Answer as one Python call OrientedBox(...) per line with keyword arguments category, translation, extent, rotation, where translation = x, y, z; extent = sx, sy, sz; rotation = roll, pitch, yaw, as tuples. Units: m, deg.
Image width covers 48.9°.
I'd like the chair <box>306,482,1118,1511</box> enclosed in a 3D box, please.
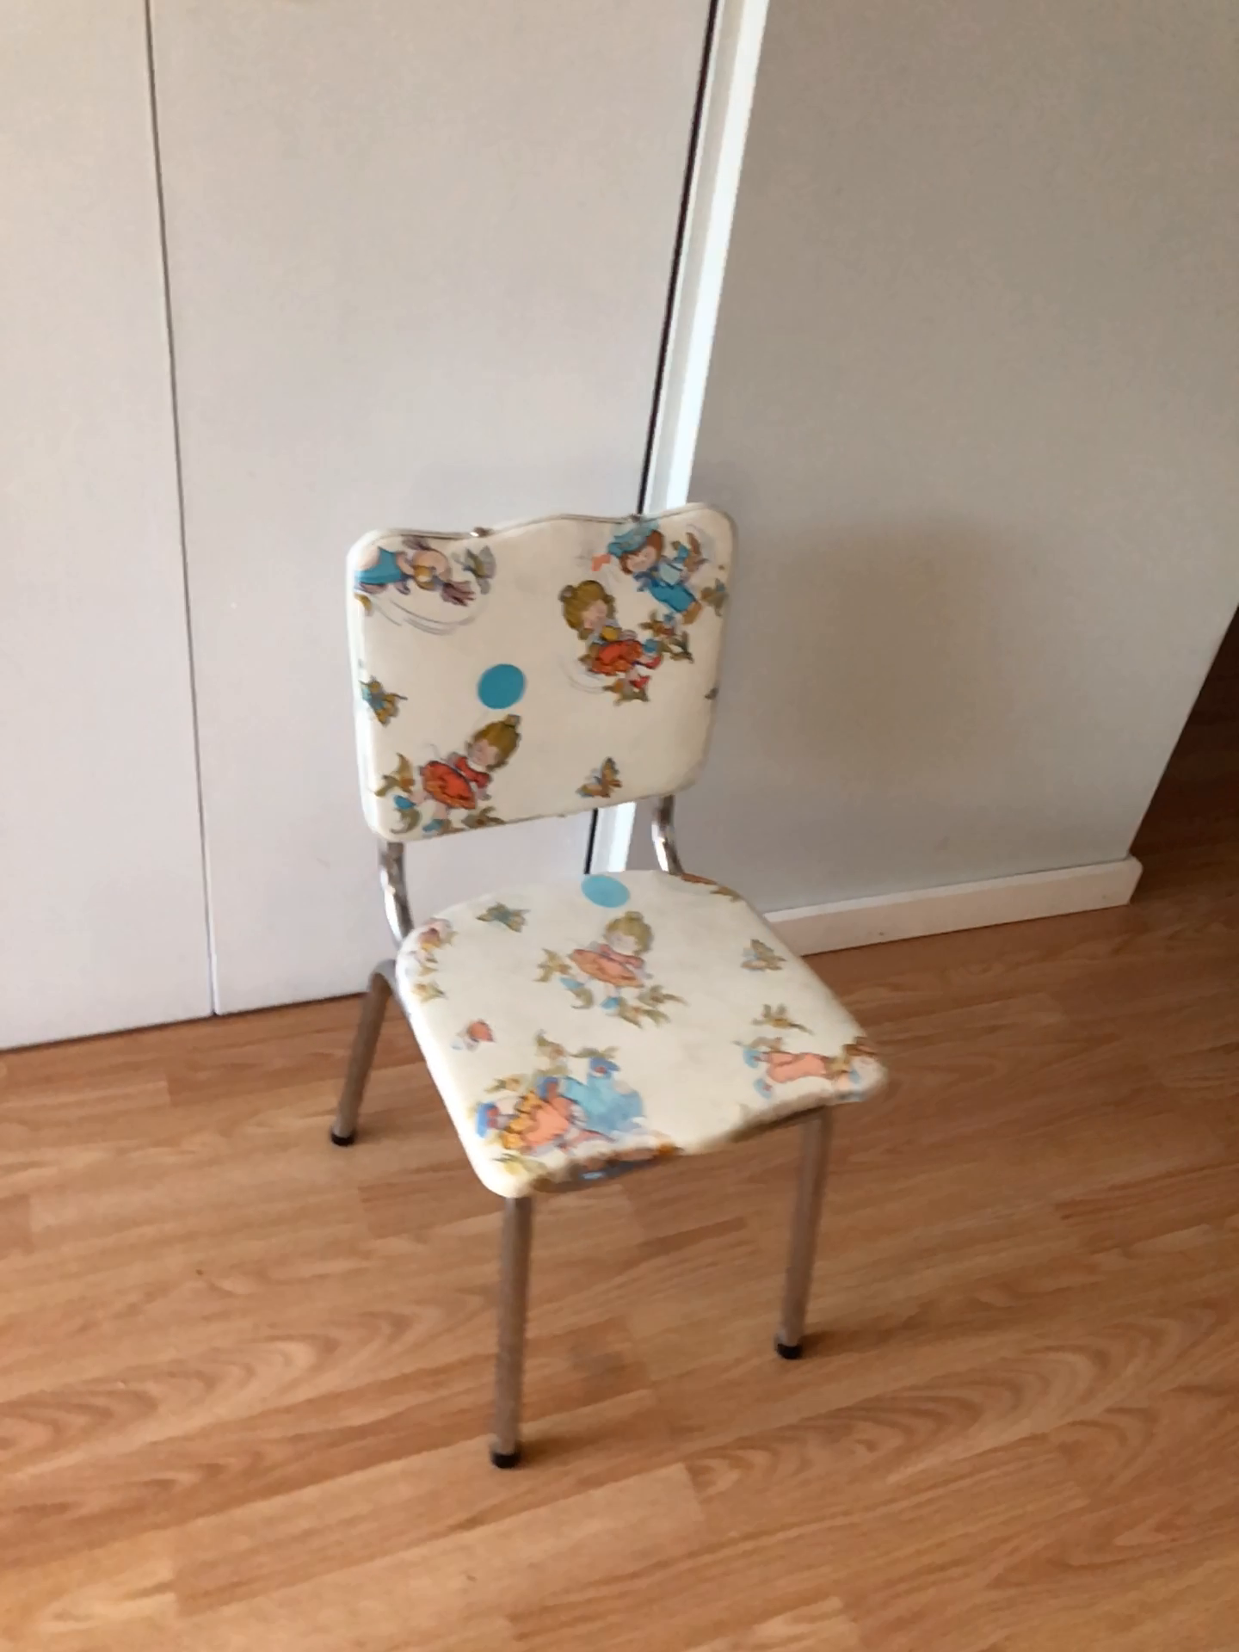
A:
OrientedBox(category="chair", translation=(0.000, 0.106, 0.977), extent=(0.350, 0.558, 0.391), rotation=(-9, 40, -24))
